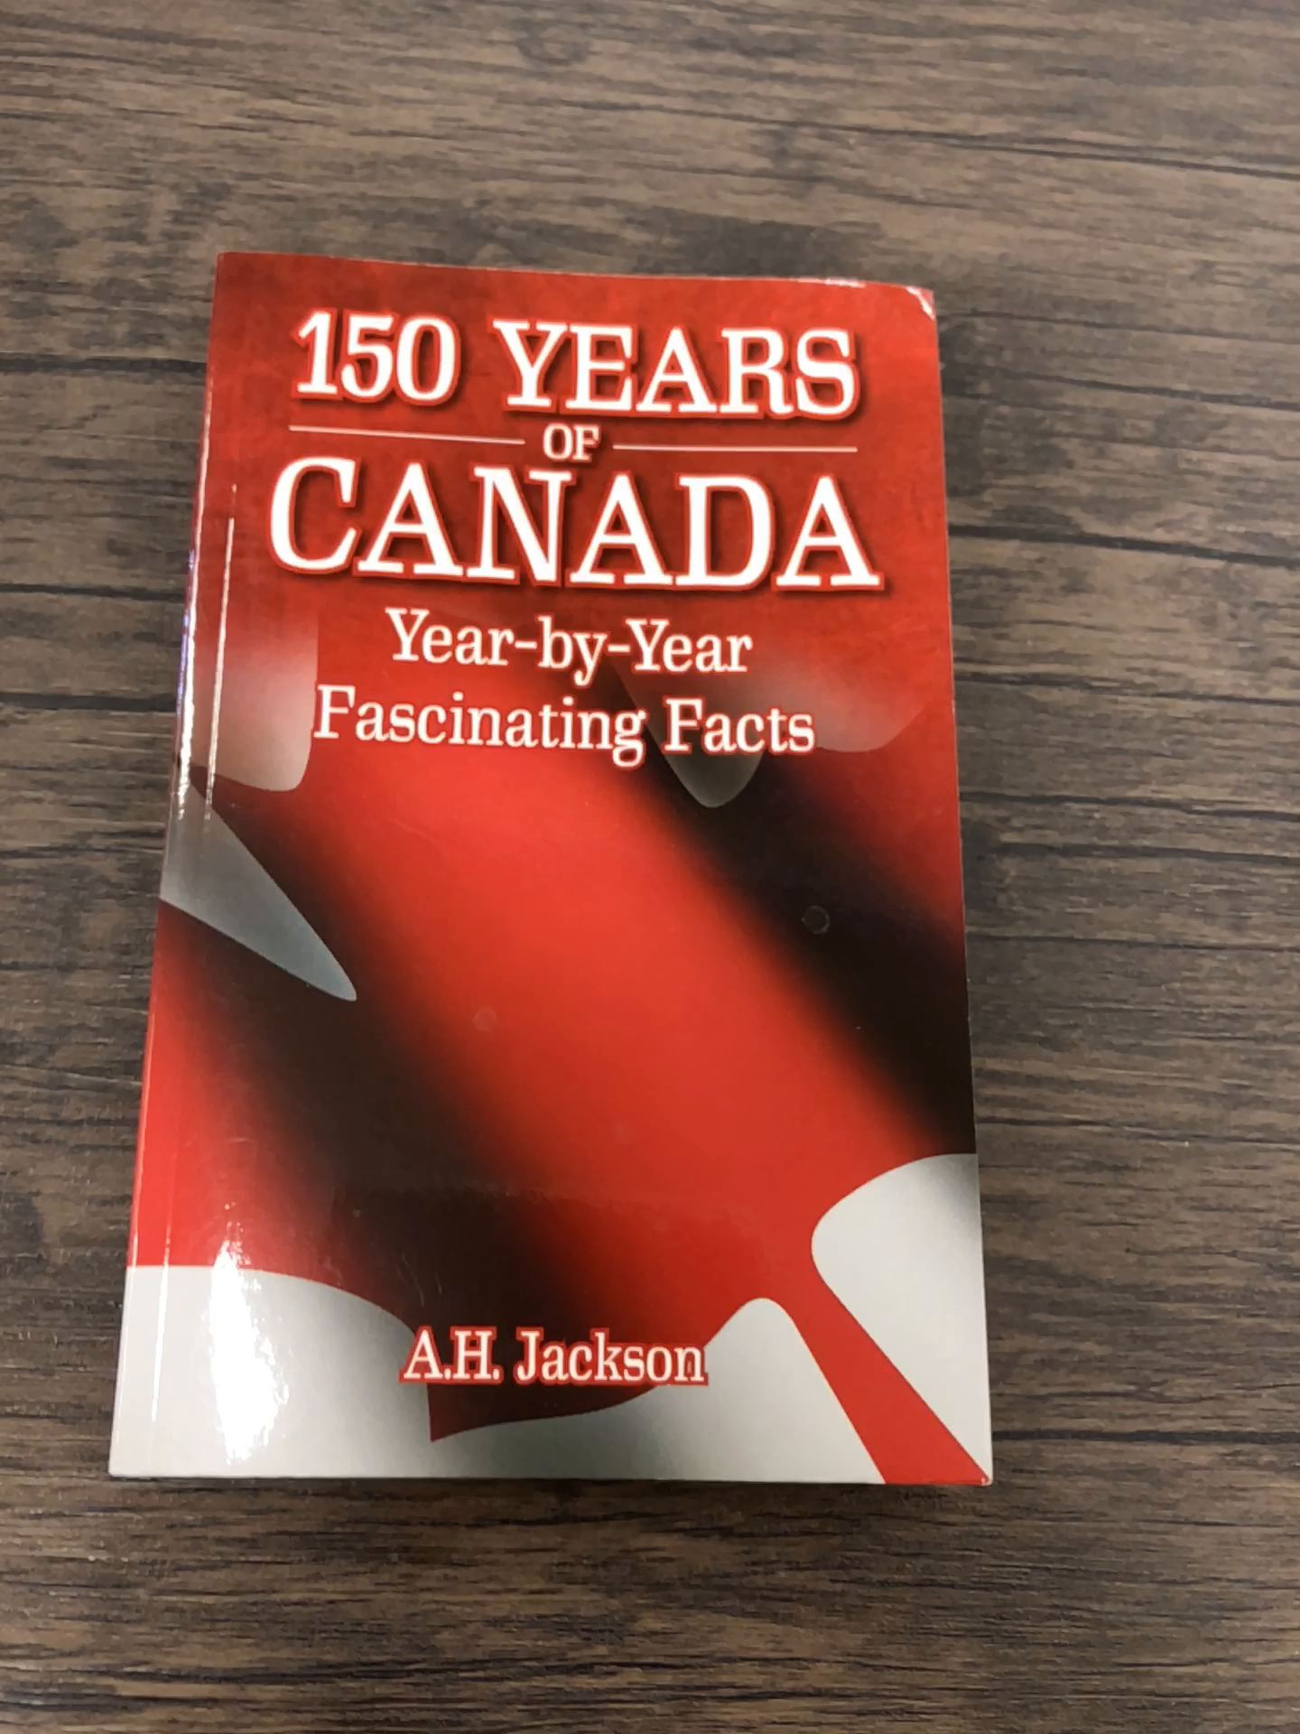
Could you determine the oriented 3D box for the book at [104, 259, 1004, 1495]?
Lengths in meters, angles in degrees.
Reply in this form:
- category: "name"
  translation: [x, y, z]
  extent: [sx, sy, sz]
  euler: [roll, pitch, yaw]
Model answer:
- category: "book"
  translation: [-0.013, -0.006, 0.249]
  extent: [0.130, 0.025, 0.206]
  euler: [0, 76, 0]
